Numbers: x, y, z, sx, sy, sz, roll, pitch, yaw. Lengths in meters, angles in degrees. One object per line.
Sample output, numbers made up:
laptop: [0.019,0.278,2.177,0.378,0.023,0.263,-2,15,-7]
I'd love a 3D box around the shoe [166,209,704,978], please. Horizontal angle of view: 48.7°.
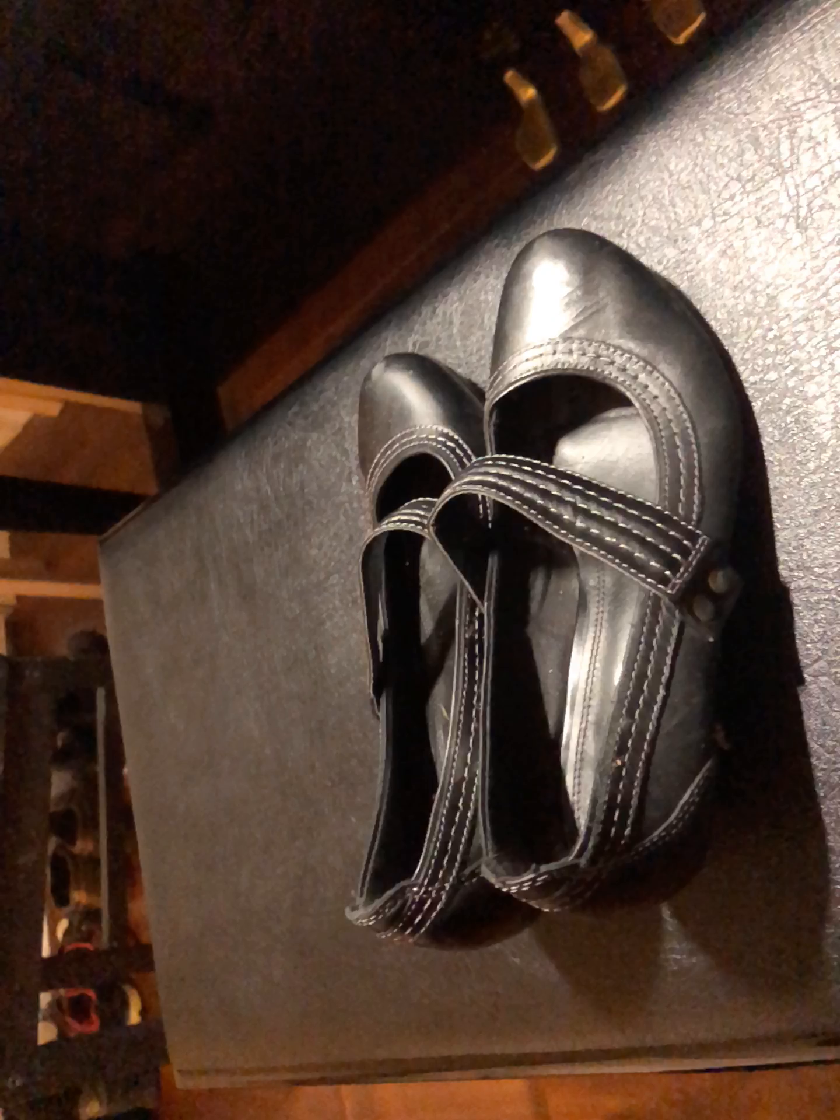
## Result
shoe: [-0.003,0.011,0.353,0.100,0.109,0.240,-31,66,38]

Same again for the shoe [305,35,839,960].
shoe: [0.050,-0.013,0.302,0.100,0.109,0.240,-20,73,42]
